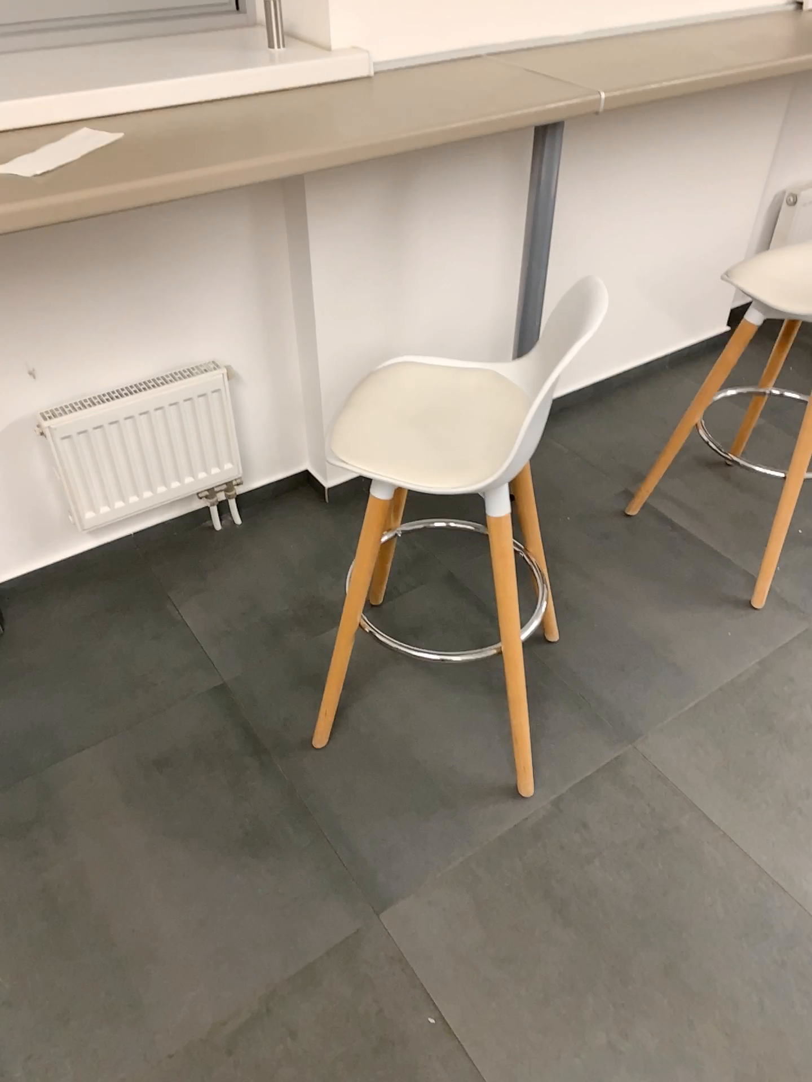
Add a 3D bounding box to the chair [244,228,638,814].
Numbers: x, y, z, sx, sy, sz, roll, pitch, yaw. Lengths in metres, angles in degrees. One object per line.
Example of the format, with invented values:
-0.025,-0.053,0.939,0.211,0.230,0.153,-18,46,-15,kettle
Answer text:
0.080,-0.012,1.497,0.480,0.885,0.483,10,42,11,chair
